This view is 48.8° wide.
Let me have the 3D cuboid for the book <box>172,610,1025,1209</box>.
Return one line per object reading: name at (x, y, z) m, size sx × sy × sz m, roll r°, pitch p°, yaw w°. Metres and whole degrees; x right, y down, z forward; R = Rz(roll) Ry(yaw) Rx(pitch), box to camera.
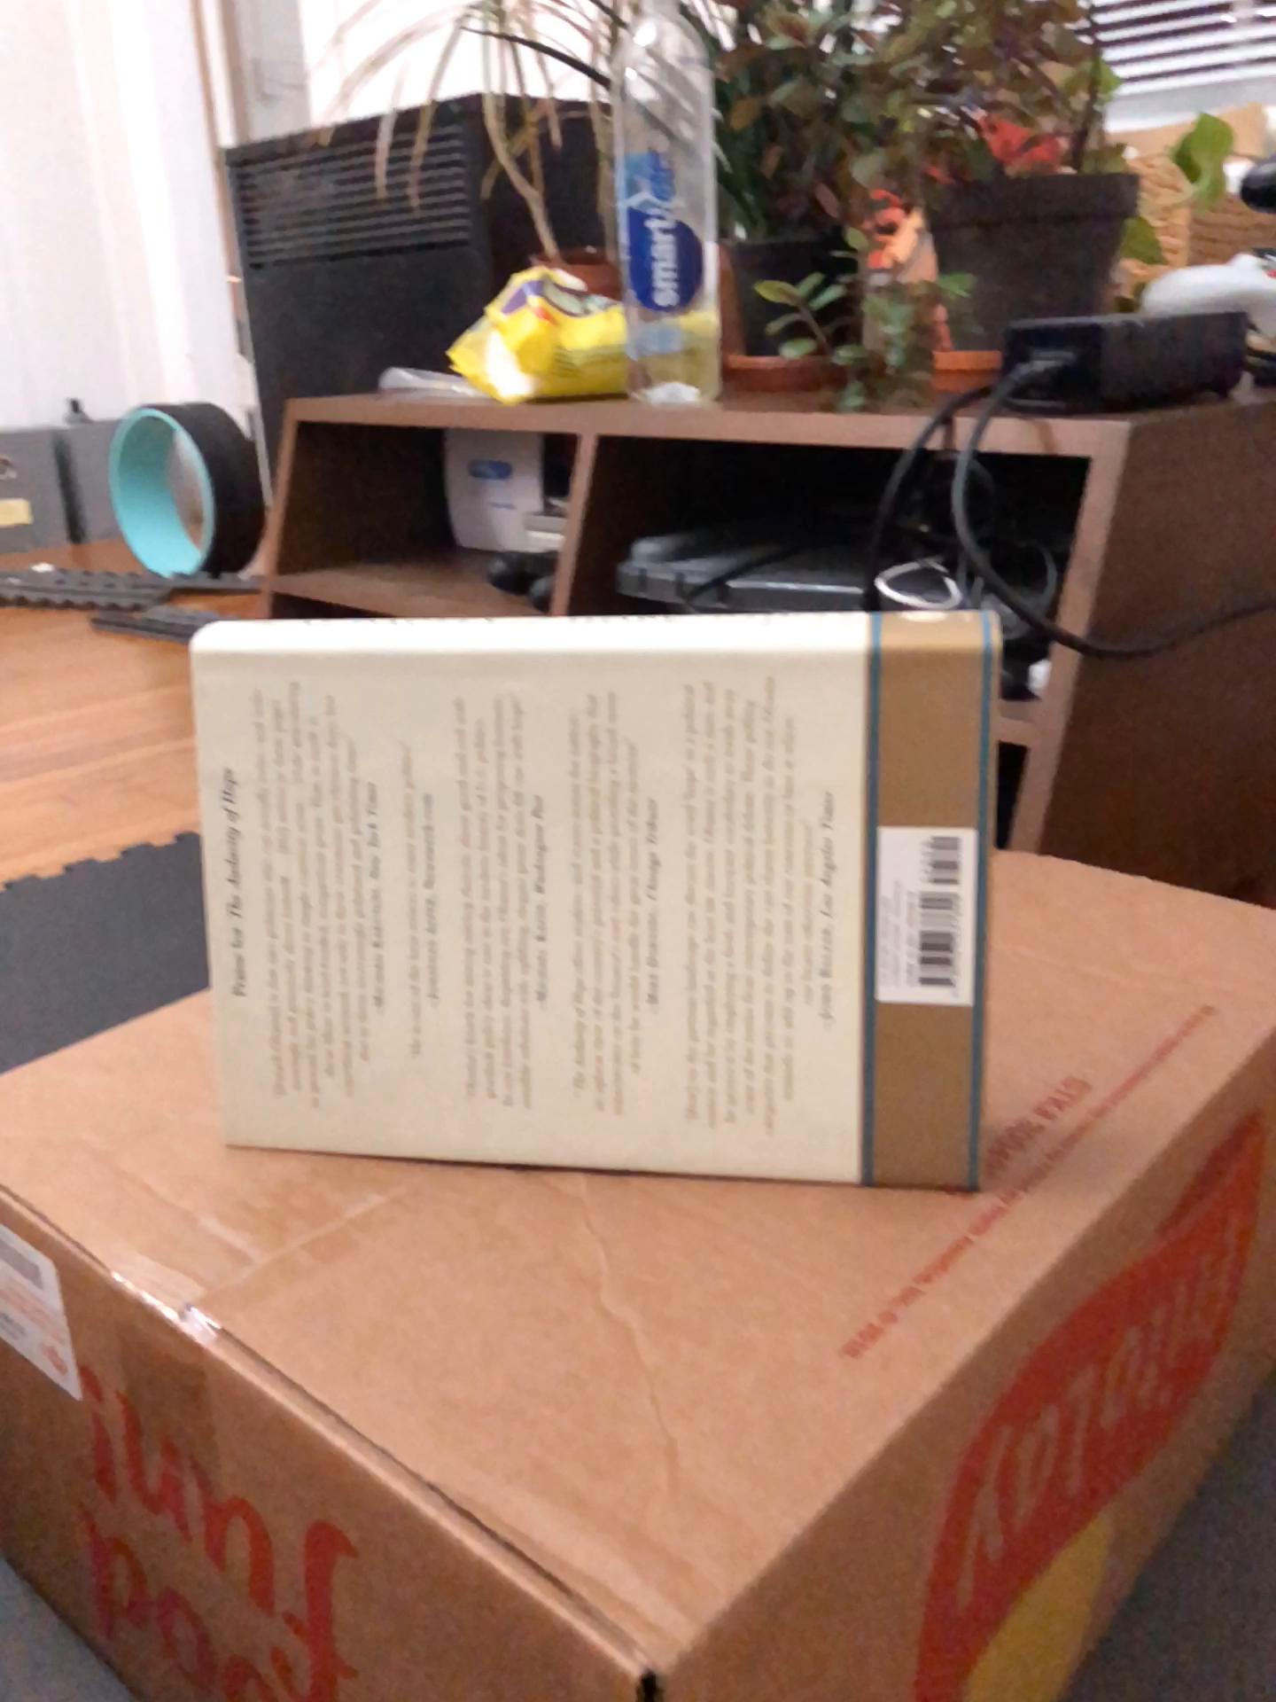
book at (-0.013, 0.011, 0.447) m, size 0.250 × 0.170 × 0.060 m, roll 2°, pitch 10°, yaw 10°
